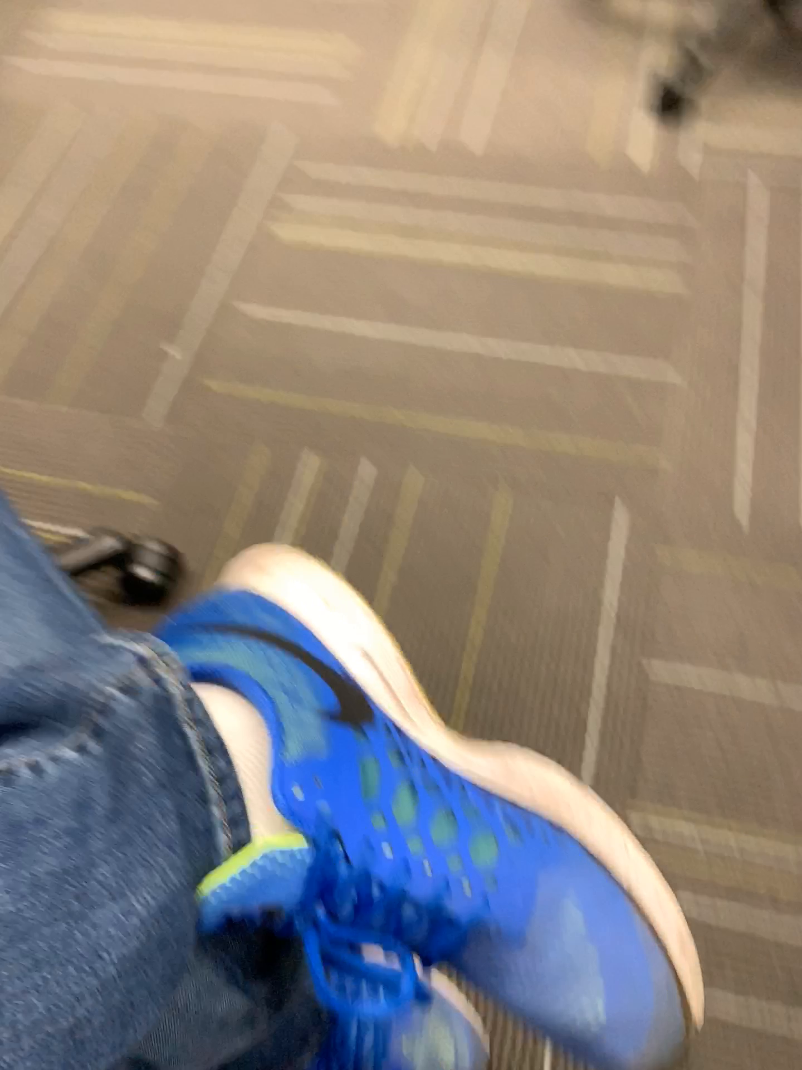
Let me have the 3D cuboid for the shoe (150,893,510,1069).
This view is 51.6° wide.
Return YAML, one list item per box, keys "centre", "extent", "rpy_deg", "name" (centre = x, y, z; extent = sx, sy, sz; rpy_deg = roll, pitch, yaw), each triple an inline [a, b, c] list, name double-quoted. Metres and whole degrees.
- centre: [-0.057, 0.415, 0.727]
  extent: [0.284, 0.086, 0.101]
  rpy_deg: [14, 63, 11]
  name: "shoe"

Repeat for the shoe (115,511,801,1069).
- centre: [0.010, 0.127, 0.352]
  extent: [0.276, 0.117, 0.103]
  rpy_deg: [36, 44, 21]
  name: "shoe"
